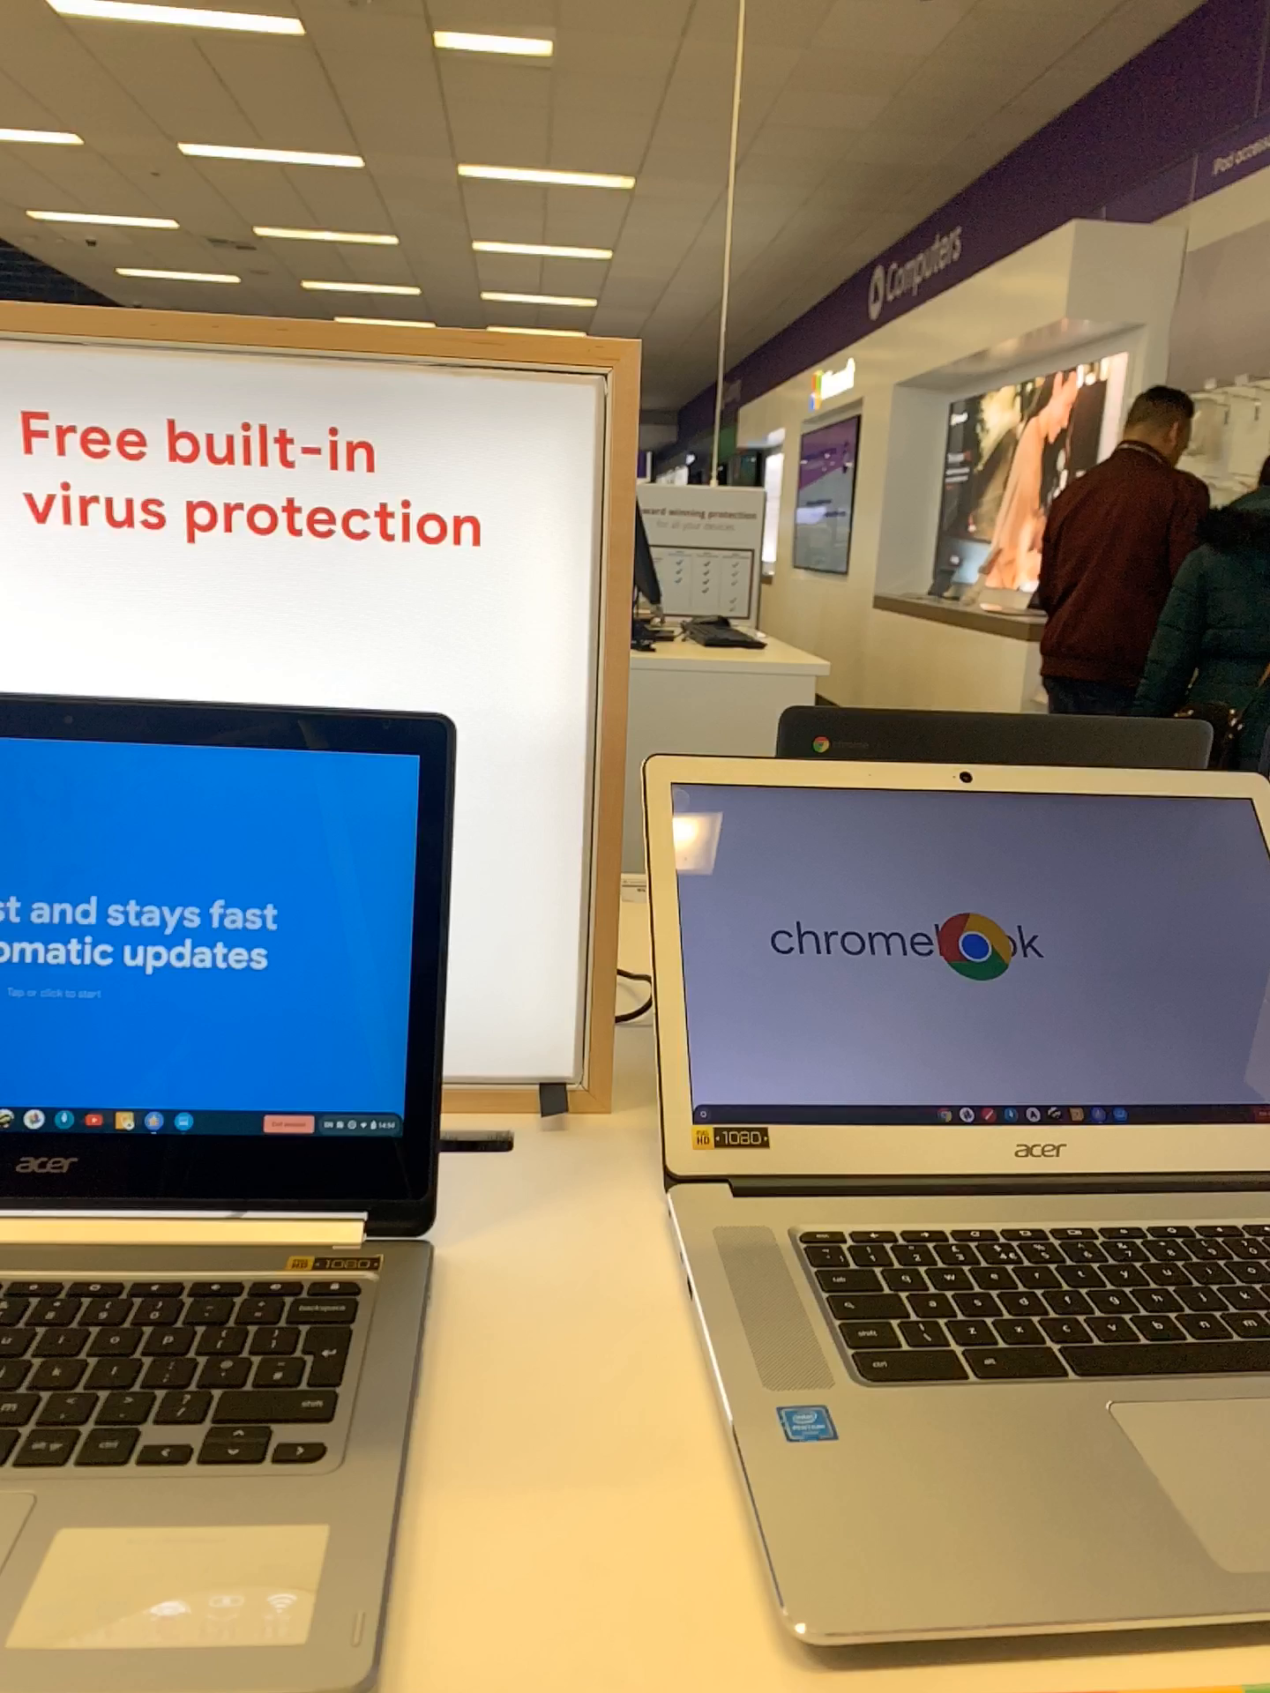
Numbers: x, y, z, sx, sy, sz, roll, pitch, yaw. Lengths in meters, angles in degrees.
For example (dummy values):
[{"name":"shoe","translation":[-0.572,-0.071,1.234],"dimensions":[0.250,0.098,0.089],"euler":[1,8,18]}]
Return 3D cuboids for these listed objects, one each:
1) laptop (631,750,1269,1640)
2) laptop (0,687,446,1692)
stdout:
[{"name":"laptop","translation":[0.212,0.086,0.576],"dimensions":[0.375,0.175,0.427],"euler":[1,14,-7]},{"name":"laptop","translation":[-0.228,0.078,0.439],"dimensions":[0.307,0.216,0.279],"euler":[2,13,-6]}]
